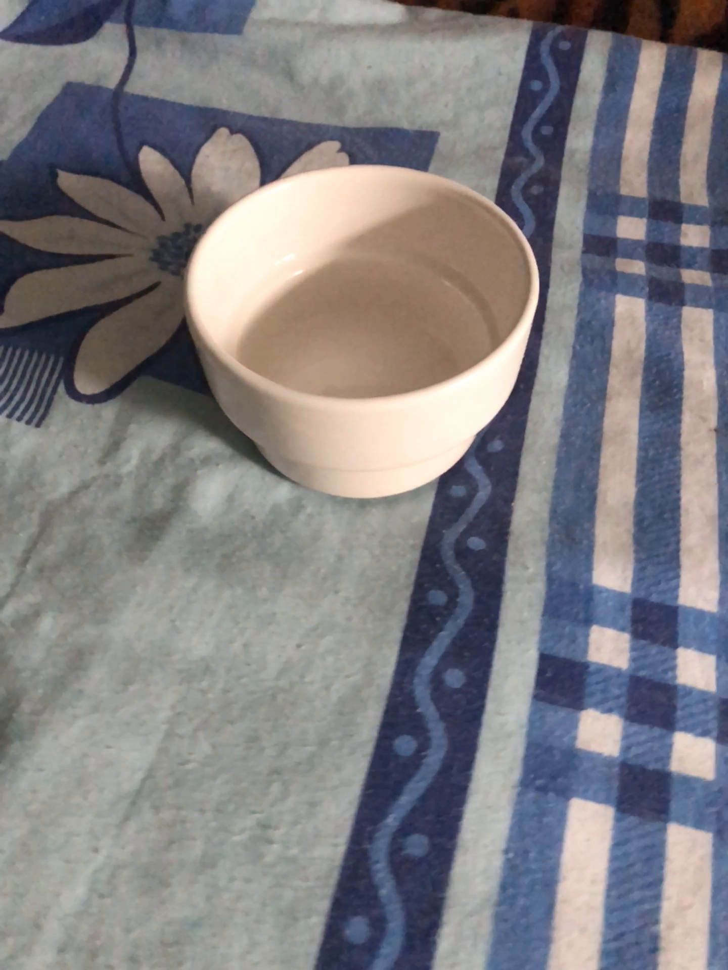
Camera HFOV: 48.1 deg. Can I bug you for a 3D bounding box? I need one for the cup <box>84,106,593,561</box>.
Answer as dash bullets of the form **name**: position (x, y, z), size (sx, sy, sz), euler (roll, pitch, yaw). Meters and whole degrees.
- **cup**: position (-0.003, -0.040, 0.204), size (0.091, 0.047, 0.077), euler (21, 61, 12)
